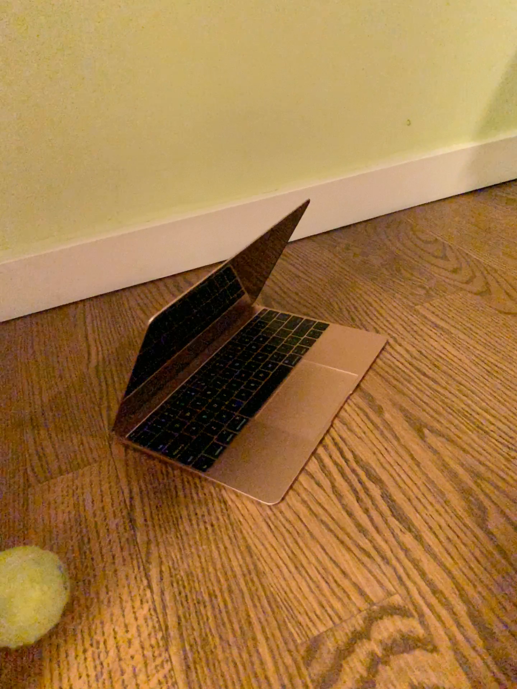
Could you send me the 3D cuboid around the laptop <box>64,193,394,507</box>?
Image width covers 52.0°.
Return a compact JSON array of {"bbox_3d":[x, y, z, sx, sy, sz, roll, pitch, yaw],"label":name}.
[{"bbox_3d":[-0.006,-0.024,0.572,0.206,0.168,0.289,14,39,28],"label":"laptop"}]
